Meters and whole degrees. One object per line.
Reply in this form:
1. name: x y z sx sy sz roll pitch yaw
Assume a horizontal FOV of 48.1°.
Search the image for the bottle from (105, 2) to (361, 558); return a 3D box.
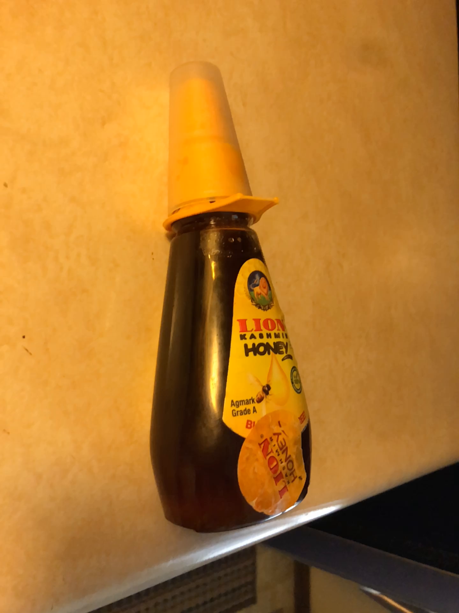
1. bottle: 0.004 -0.010 0.224 0.090 0.050 0.190 -2 87 -45
